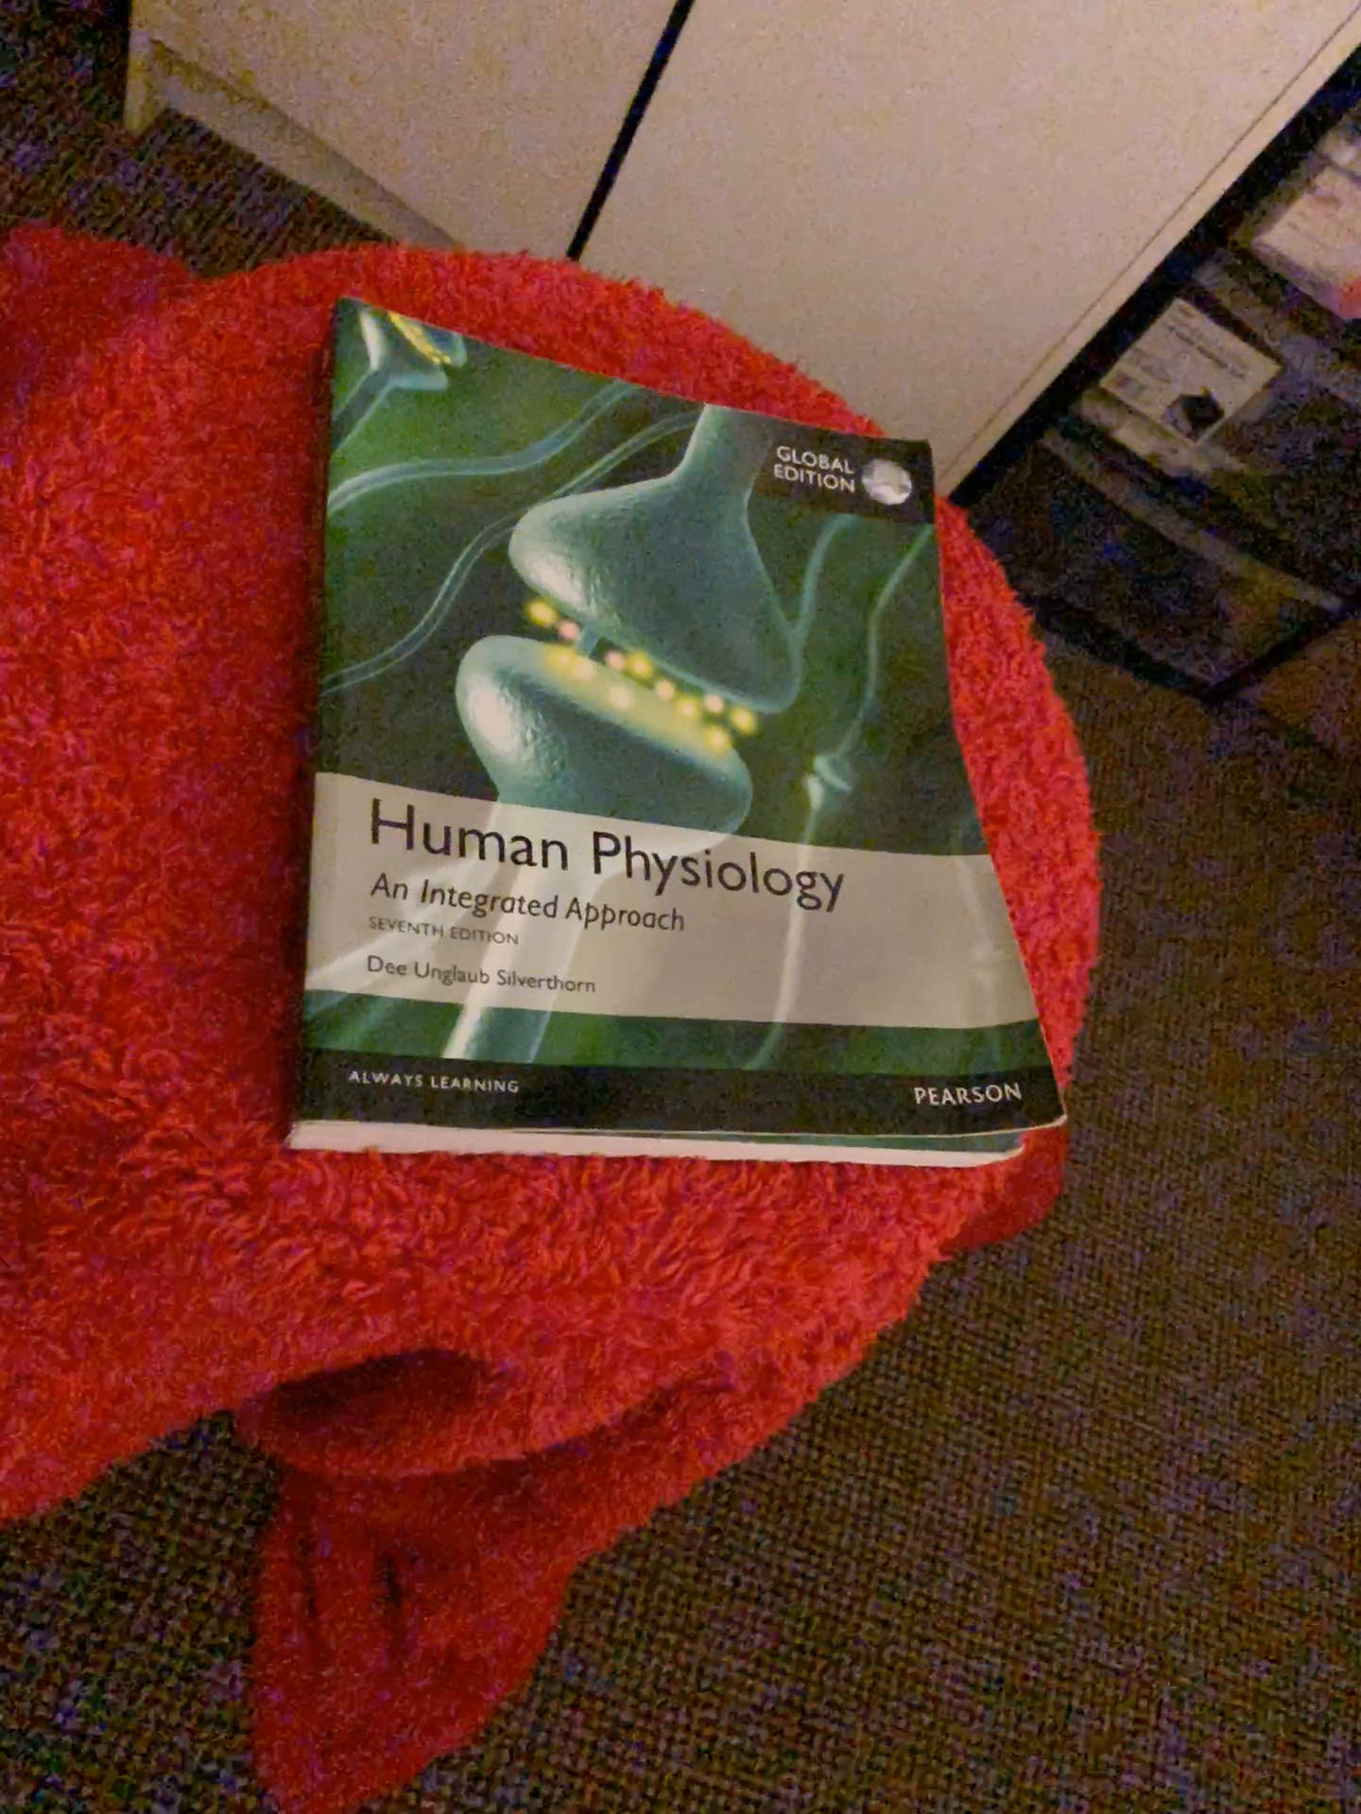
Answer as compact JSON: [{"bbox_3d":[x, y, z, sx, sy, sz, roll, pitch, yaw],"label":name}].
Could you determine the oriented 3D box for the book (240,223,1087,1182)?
[{"bbox_3d":[-0.009,-0.064,0.484,0.250,0.070,0.301,6,64,-23],"label":"book"}]
